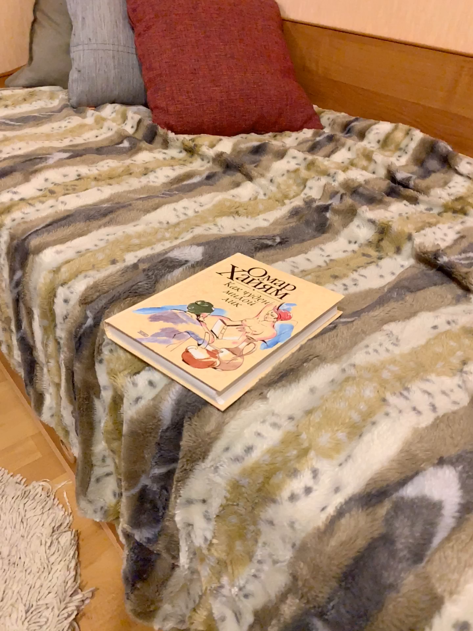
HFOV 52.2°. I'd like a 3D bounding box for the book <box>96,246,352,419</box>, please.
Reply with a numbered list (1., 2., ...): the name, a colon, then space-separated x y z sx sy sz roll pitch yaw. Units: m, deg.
1. book: -0.008 0.000 0.527 0.171 0.030 0.221 26 42 34
